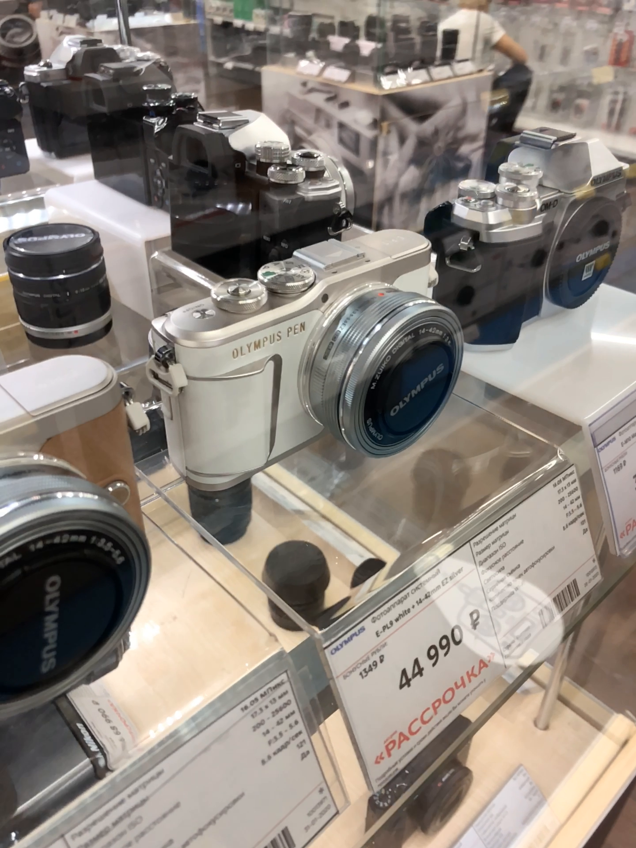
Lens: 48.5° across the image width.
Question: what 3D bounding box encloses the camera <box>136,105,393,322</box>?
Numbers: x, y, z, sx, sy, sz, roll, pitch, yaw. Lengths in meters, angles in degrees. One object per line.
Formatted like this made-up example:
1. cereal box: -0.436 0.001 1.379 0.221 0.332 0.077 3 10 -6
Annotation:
1. camera: -0.030 -0.117 0.375 0.072 0.072 0.114 -28 44 -35

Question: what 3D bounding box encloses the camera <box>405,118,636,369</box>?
1. camera: 0.099 -0.086 0.315 0.114 0.072 0.053 -29 45 -36

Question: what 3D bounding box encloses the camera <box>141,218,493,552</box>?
1. camera: 0.004 -0.021 0.257 0.115 0.070 0.053 -29 45 -36

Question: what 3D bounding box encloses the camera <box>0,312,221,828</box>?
1. camera: -0.080 0.028 0.176 0.061 0.072 0.088 30 44 35
